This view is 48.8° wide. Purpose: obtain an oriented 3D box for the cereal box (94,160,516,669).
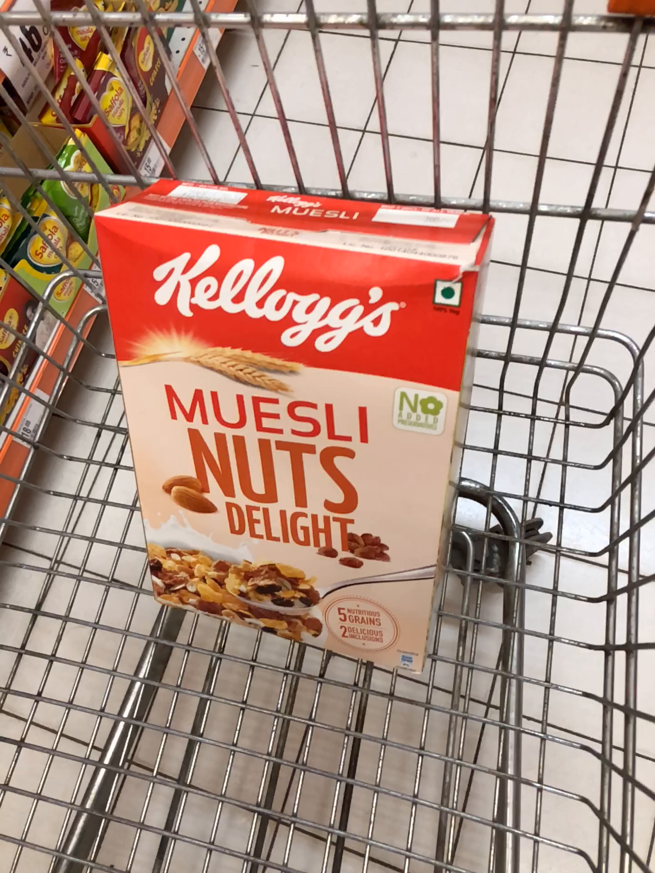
[{"bbox_3d":[-0.012,-0.006,0.398,0.180,0.249,0.070,12,34,14],"label":"cereal box"}]
